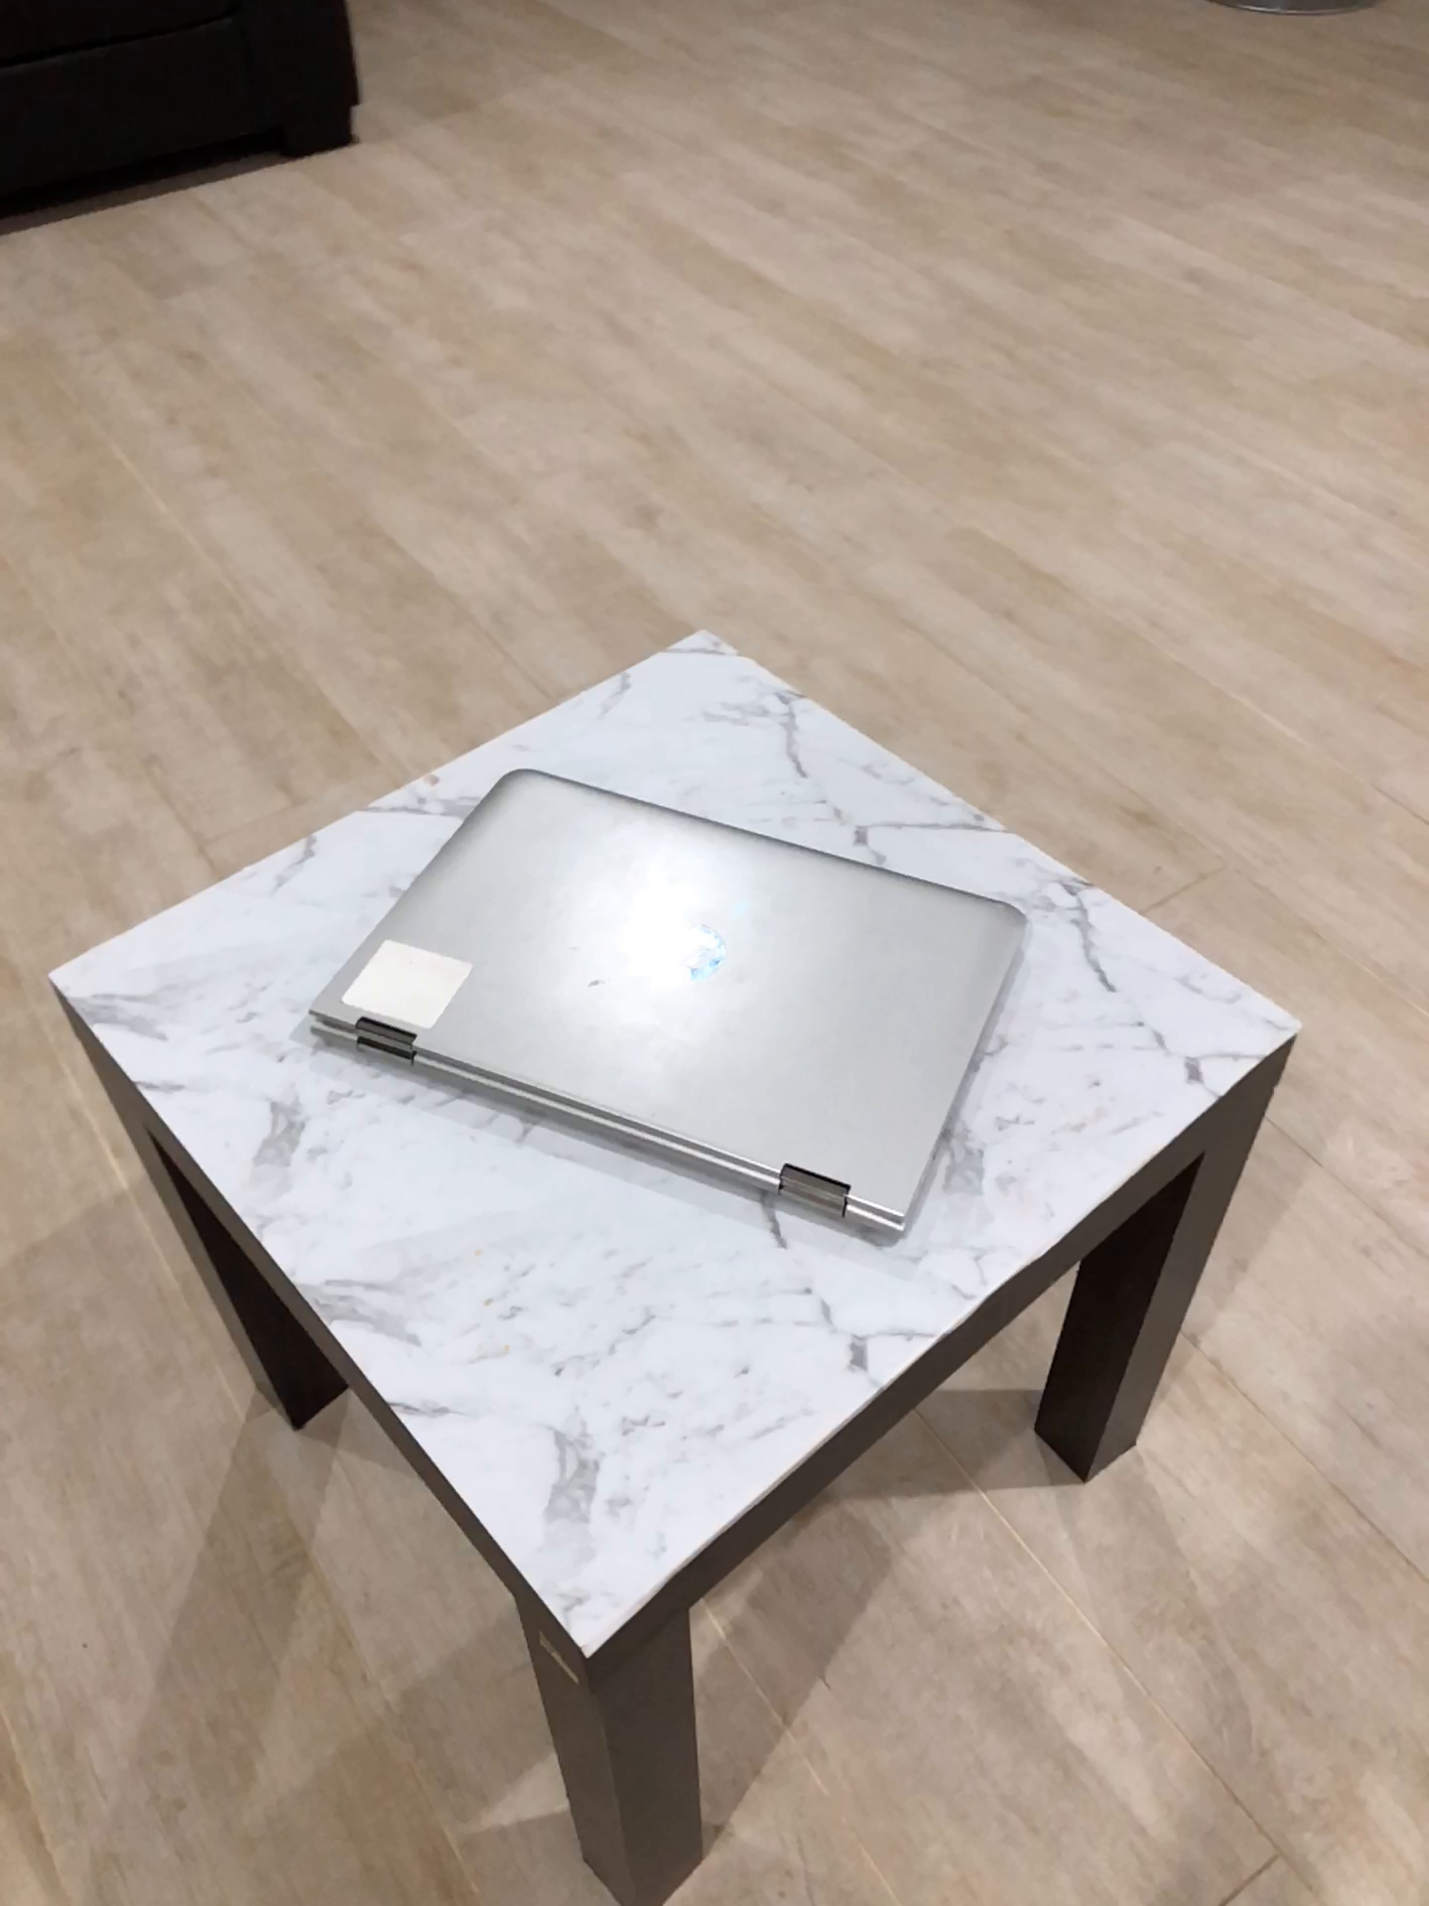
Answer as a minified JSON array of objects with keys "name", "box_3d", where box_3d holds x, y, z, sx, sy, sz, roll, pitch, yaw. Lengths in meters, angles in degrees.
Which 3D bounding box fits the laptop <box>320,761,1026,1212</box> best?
[{"name":"laptop","box_3d":[-0.016,0.002,0.768,0.292,0.001,0.198,17,49,16]}]
